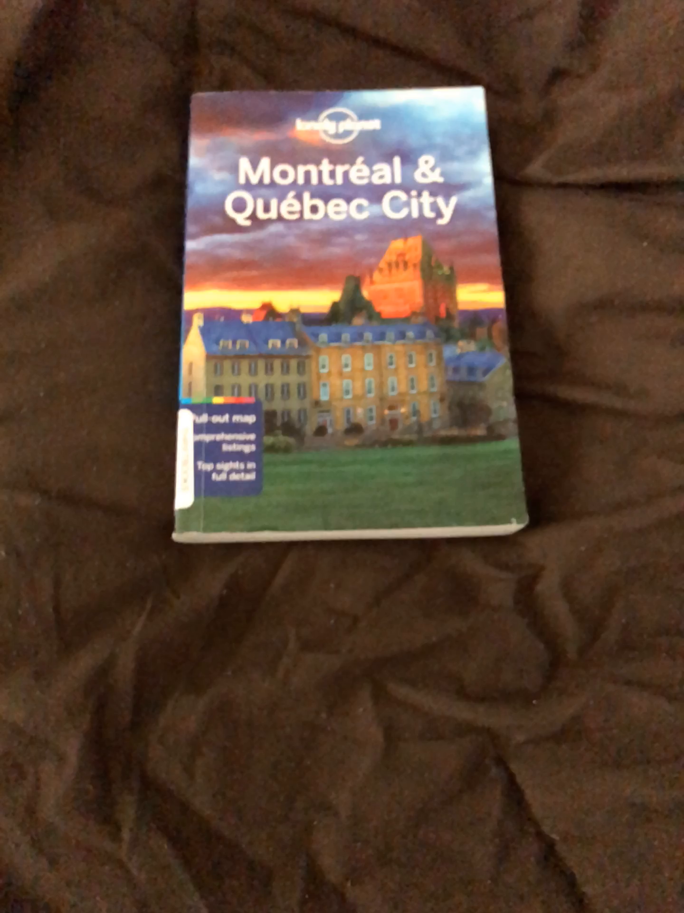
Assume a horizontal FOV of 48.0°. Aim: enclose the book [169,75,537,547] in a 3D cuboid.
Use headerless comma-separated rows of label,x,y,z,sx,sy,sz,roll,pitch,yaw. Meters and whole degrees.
book,0.002,-0.067,0.327,0.137,0.024,0.205,-2,73,1
